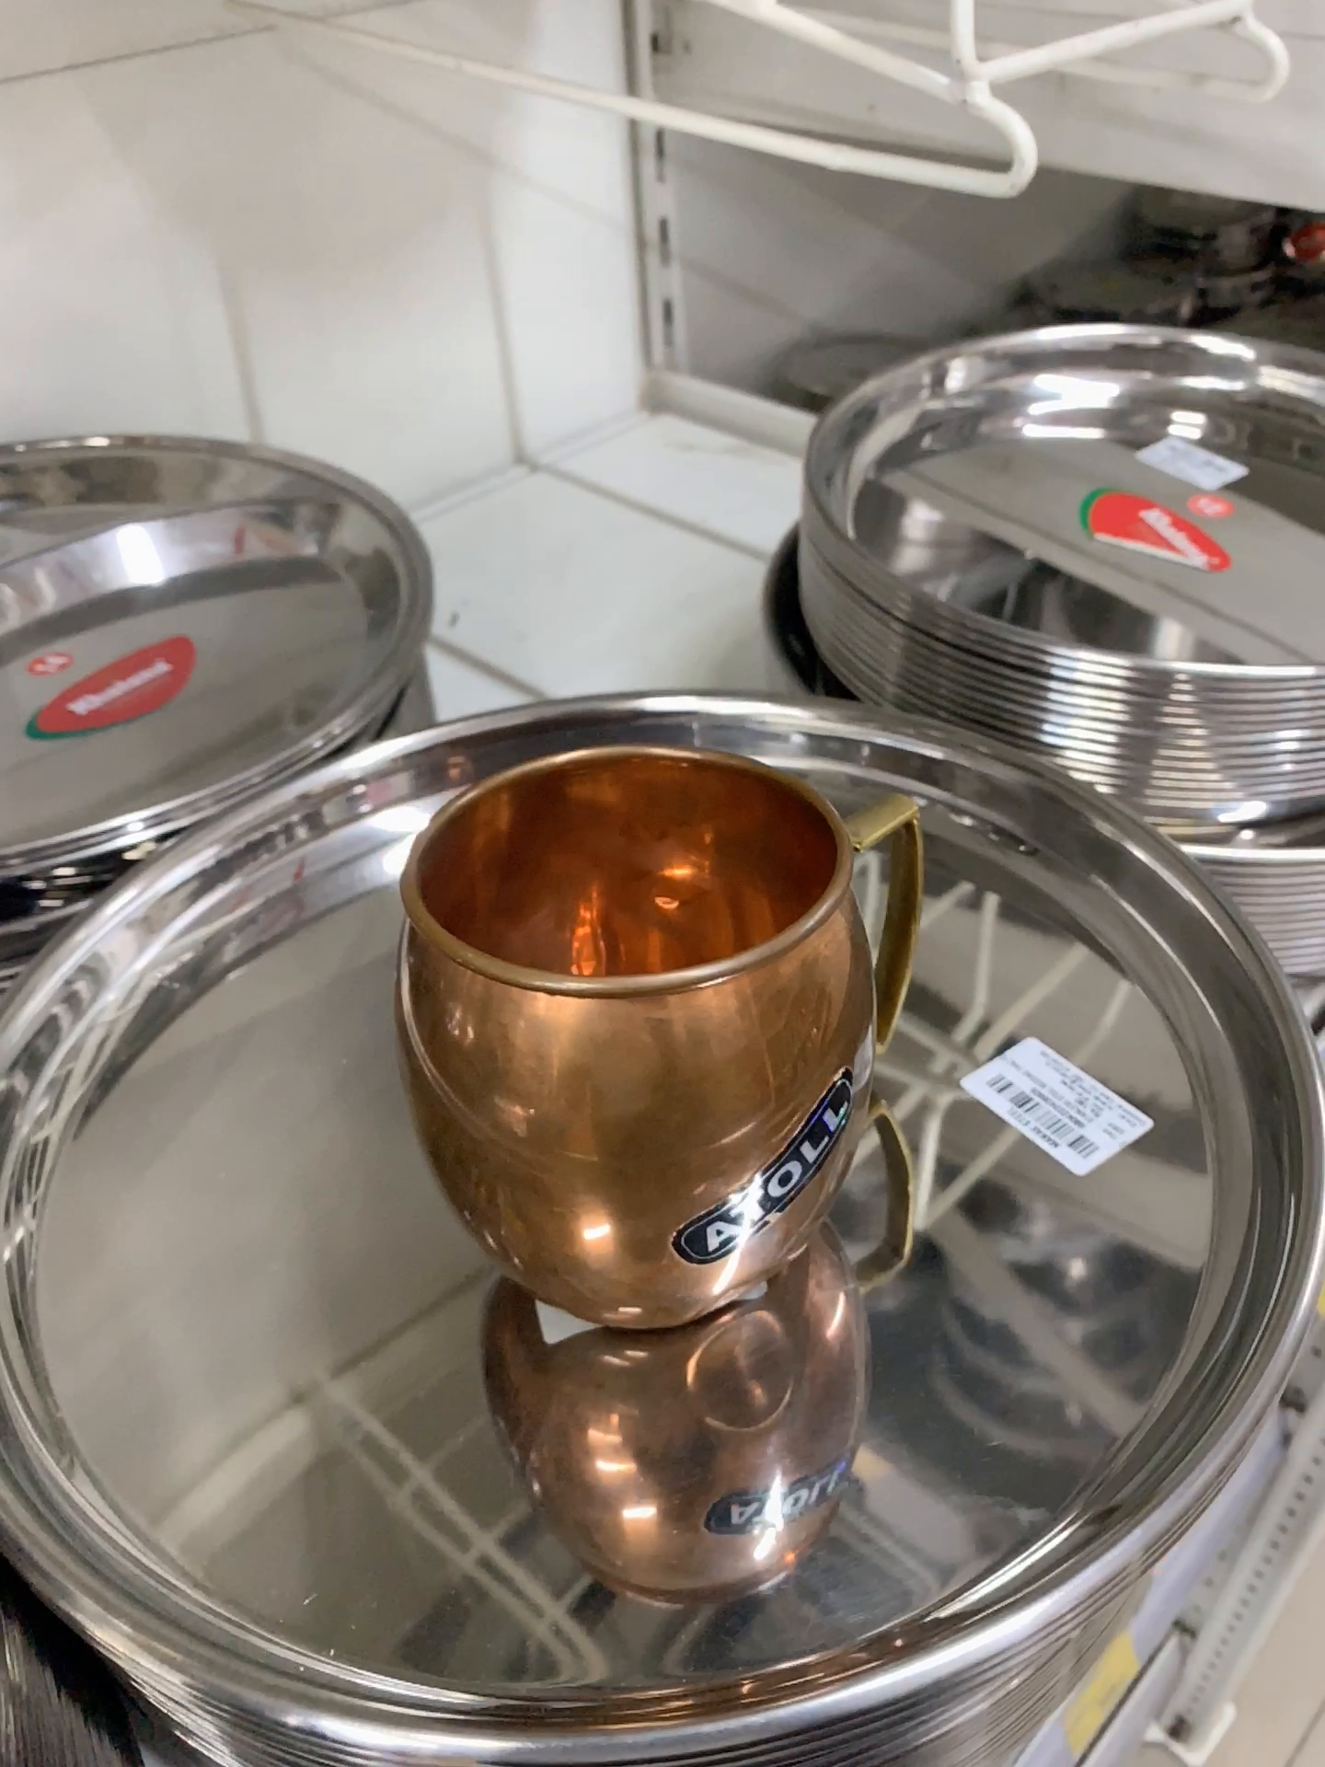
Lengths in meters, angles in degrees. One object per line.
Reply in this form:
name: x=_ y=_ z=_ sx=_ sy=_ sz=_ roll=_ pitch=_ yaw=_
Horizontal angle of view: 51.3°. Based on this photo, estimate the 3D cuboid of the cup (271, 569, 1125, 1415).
cup: x=0.007 y=0.012 z=0.269 sx=0.120 sy=0.090 sz=0.090 roll=-26 pitch=45 yaw=-29
